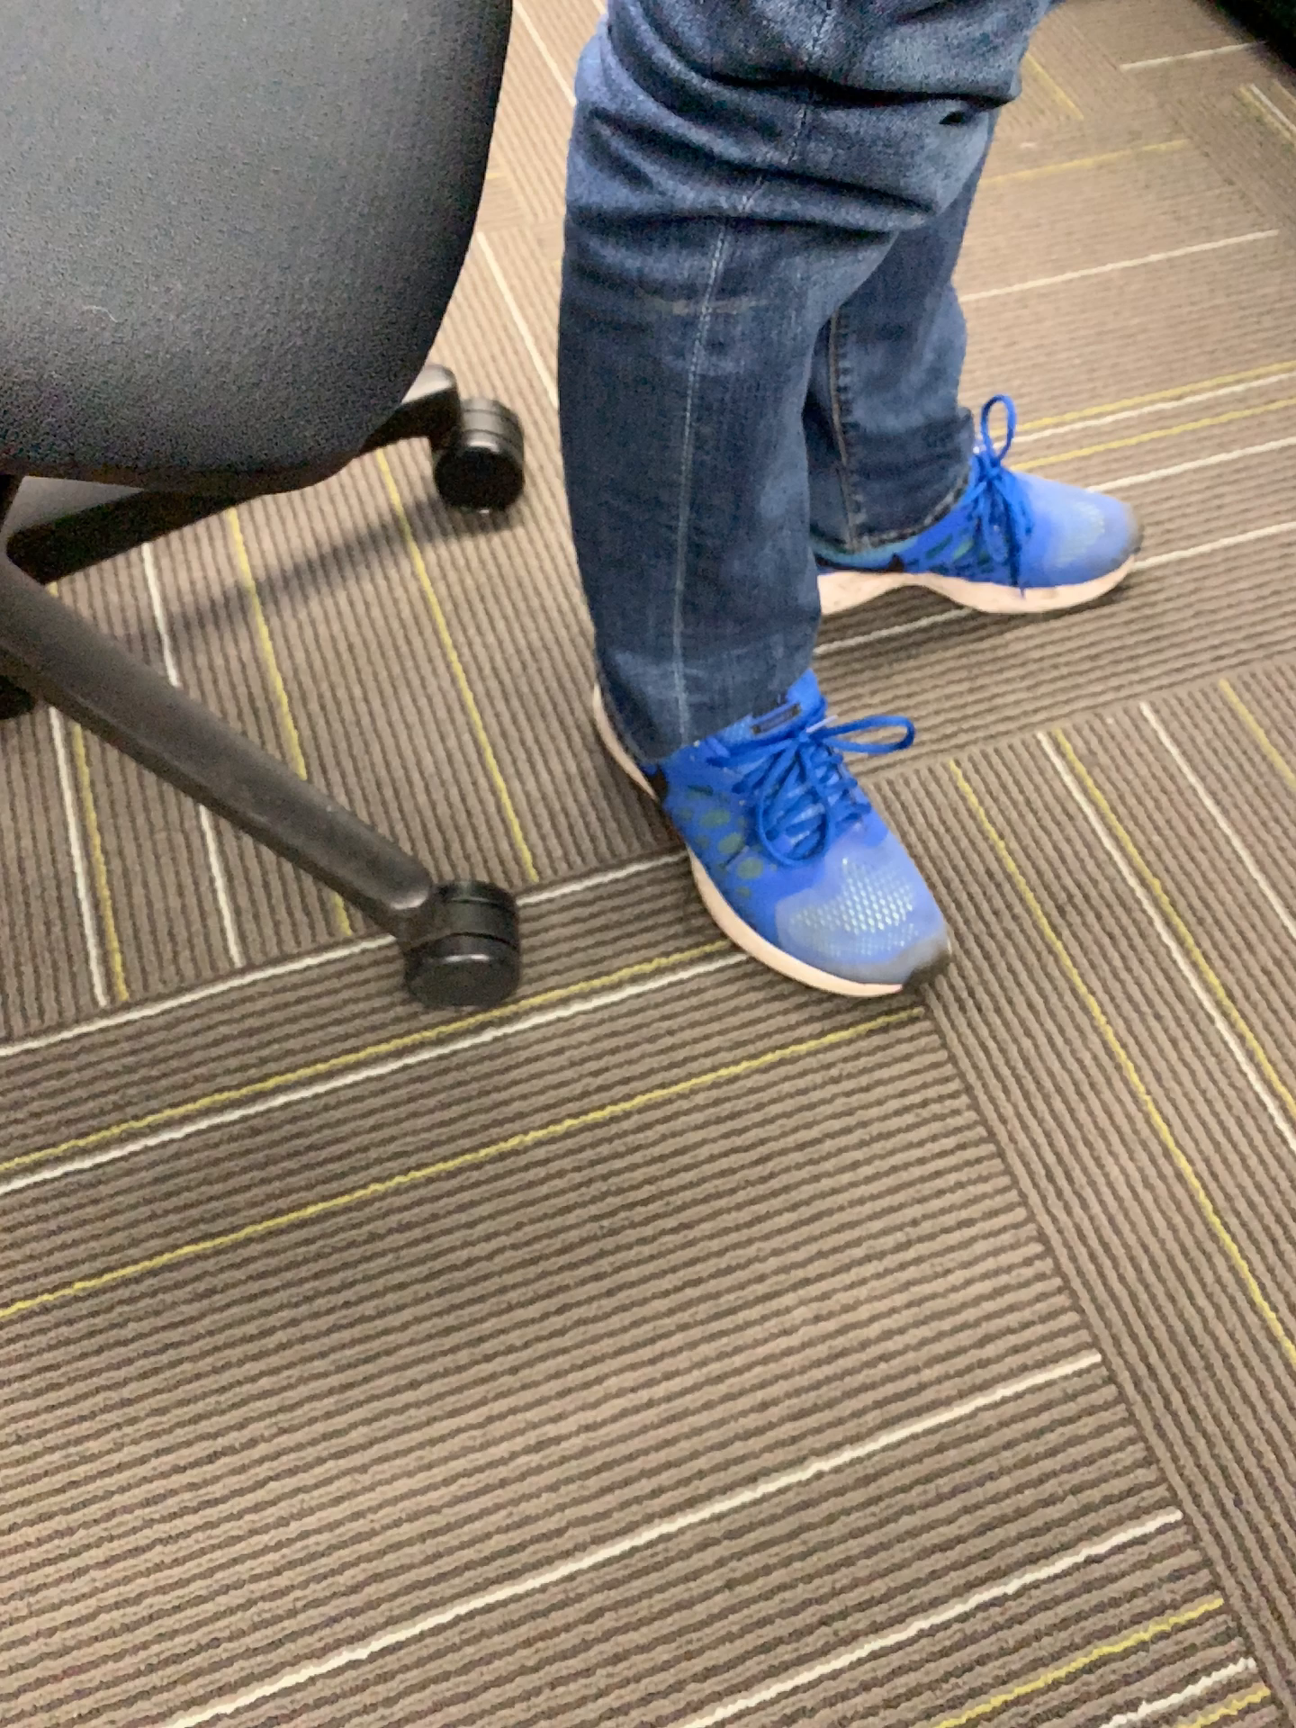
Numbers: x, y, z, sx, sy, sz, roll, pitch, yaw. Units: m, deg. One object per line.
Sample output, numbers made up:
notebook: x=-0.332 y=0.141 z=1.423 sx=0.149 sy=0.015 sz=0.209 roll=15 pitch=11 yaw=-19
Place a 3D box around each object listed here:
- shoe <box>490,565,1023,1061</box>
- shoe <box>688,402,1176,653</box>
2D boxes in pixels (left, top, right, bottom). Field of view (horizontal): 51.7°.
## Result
shoe: x=0.054 y=-0.046 z=0.827 sx=0.119 sy=0.088 sz=0.339 roll=-34 pitch=56 yaw=-21
shoe: x=0.192 y=-0.235 z=0.943 sx=0.310 sy=0.088 sz=0.142 roll=0 pitch=57 yaw=9
